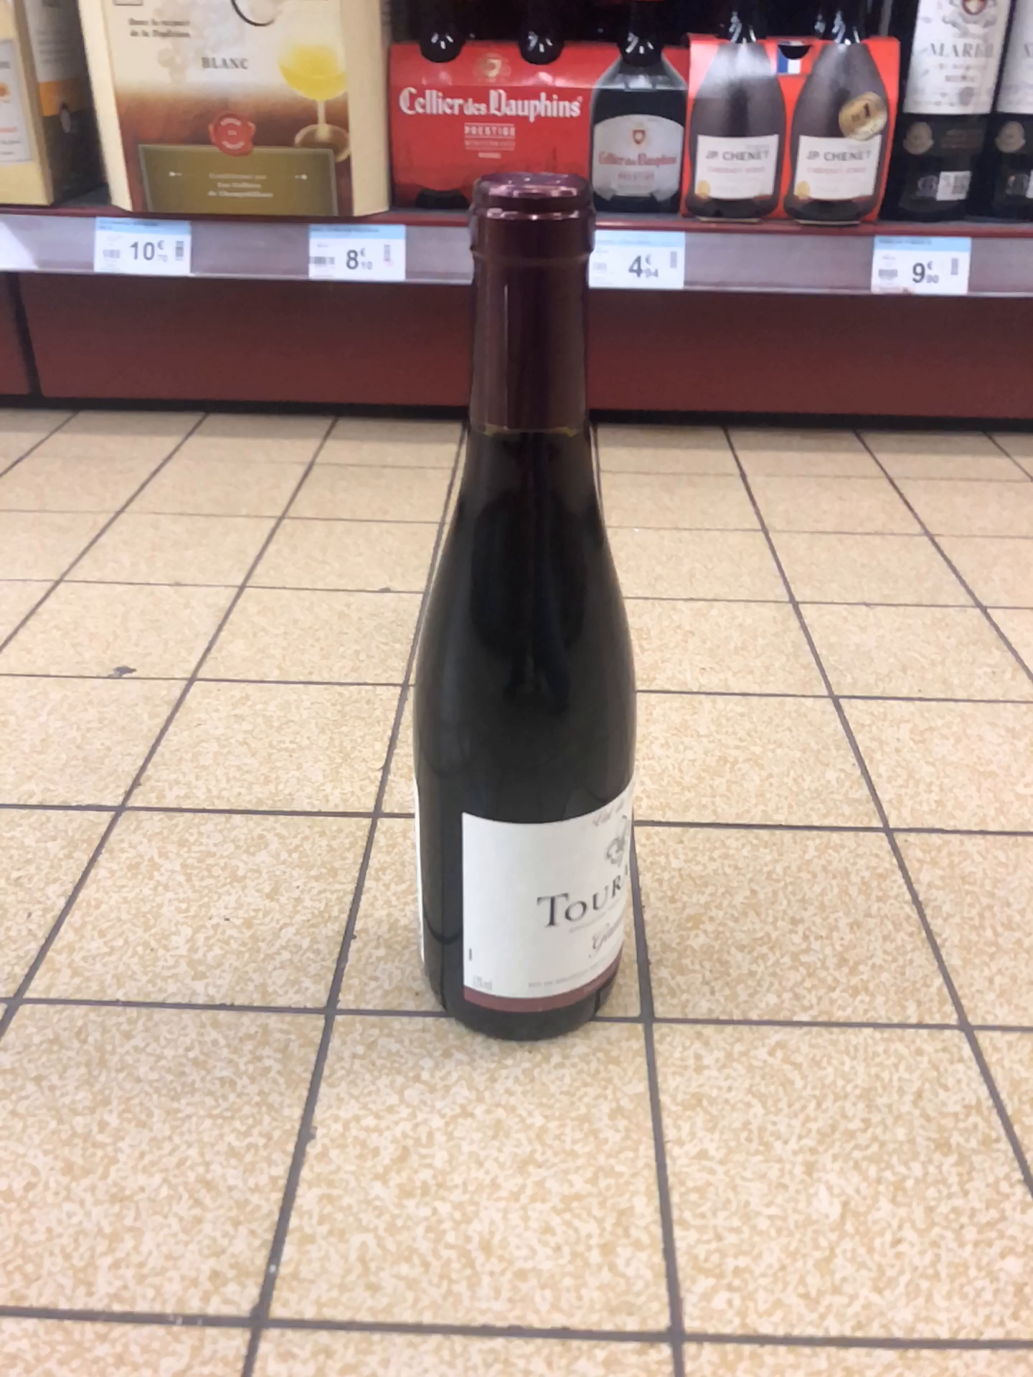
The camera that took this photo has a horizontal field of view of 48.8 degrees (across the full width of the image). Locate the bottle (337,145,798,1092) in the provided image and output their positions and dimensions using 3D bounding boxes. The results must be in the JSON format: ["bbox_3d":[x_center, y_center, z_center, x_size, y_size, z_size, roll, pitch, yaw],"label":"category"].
[{"bbox_3d":[0.011,-0.014,0.315,0.070,0.239,0.080,23,36,33],"label":"bottle"}]
